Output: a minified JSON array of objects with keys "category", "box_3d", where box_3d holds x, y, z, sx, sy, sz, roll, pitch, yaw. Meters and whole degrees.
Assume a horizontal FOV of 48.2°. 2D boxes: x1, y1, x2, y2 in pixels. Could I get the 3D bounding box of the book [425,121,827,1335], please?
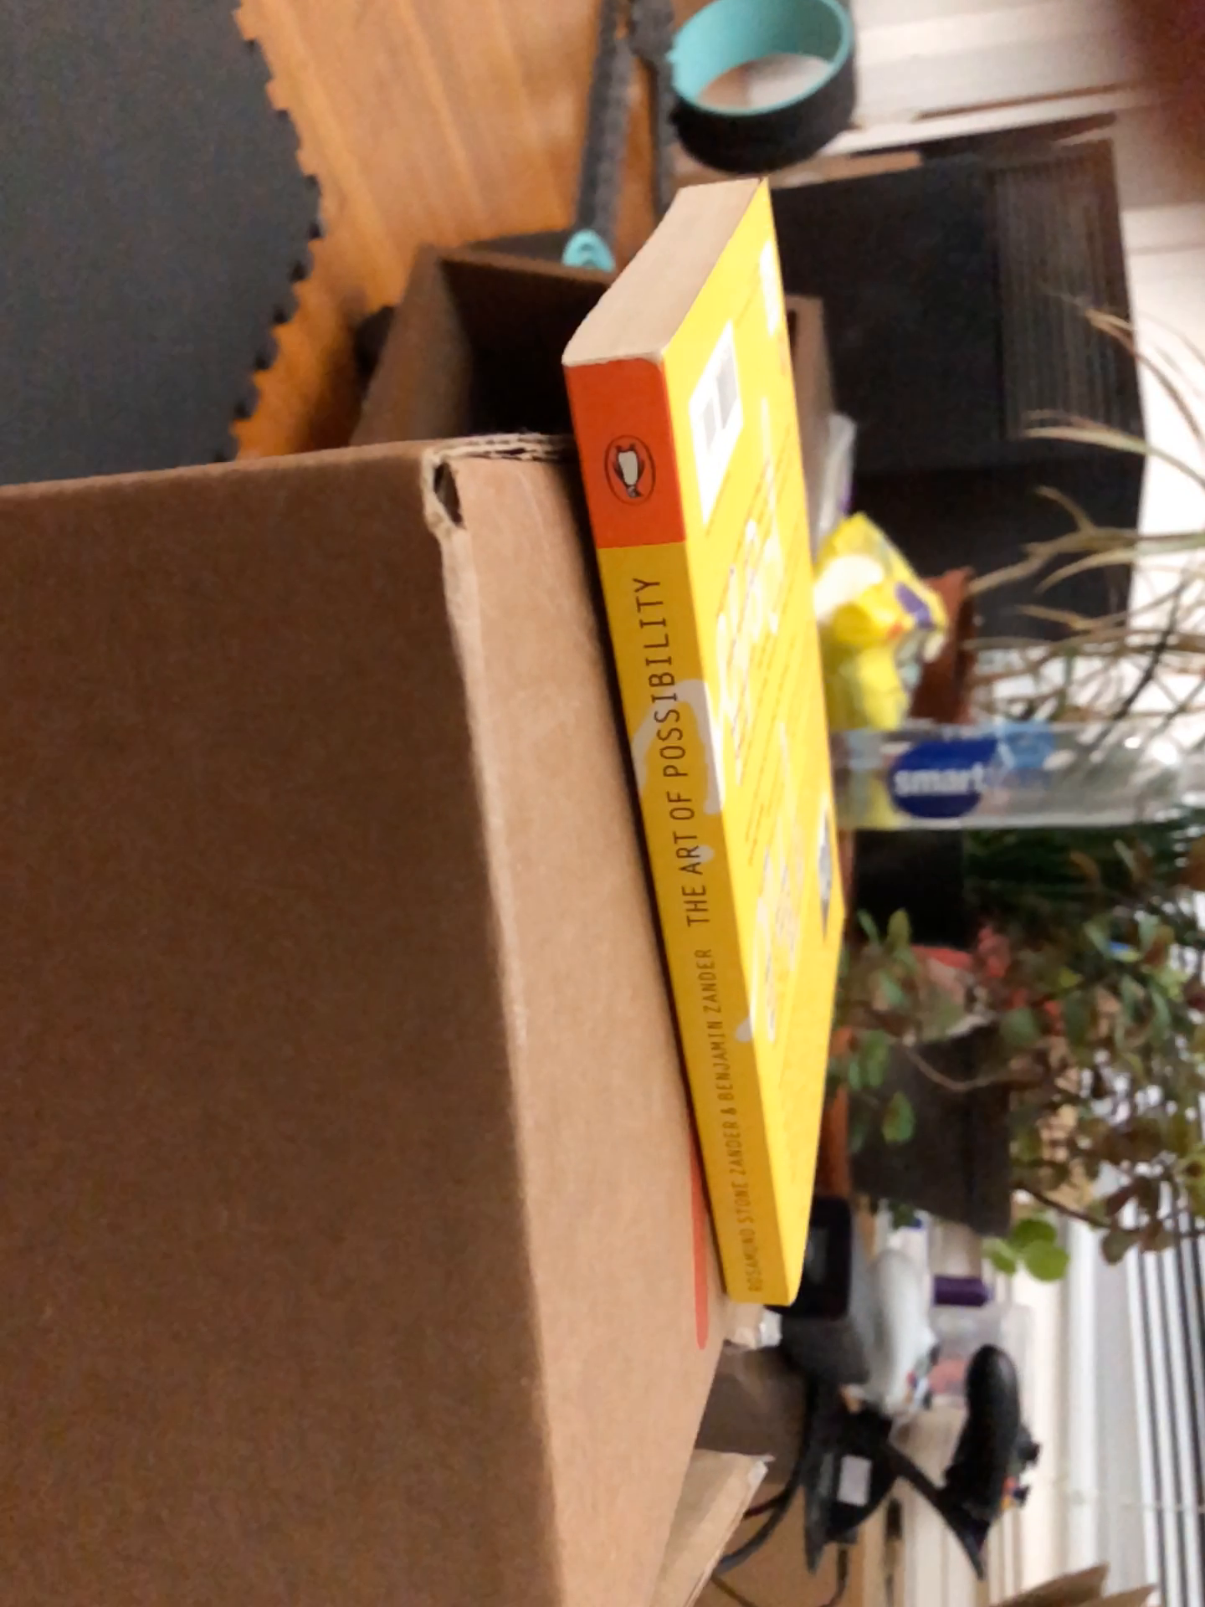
[{"category":"book","box_3d":[0.022,-0.018,0.288,0.151,0.020,0.210,-69,152,-53]}]
